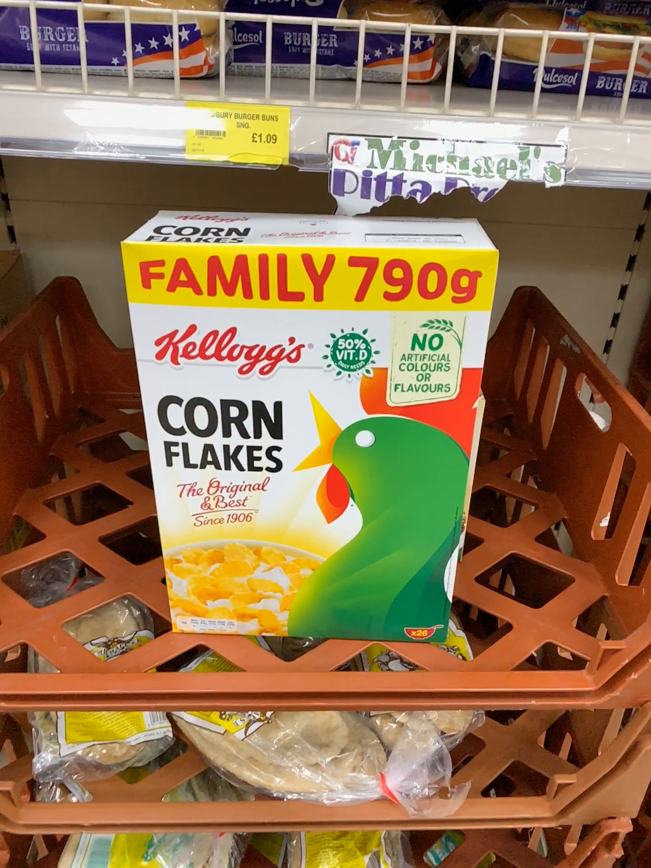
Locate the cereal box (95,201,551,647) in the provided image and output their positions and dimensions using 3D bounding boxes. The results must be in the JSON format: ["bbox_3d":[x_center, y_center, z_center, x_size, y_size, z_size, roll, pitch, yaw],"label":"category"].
[{"bbox_3d":[-0.006,0.008,0.519,0.270,0.337,0.091,2,31,0],"label":"cereal box"}]
